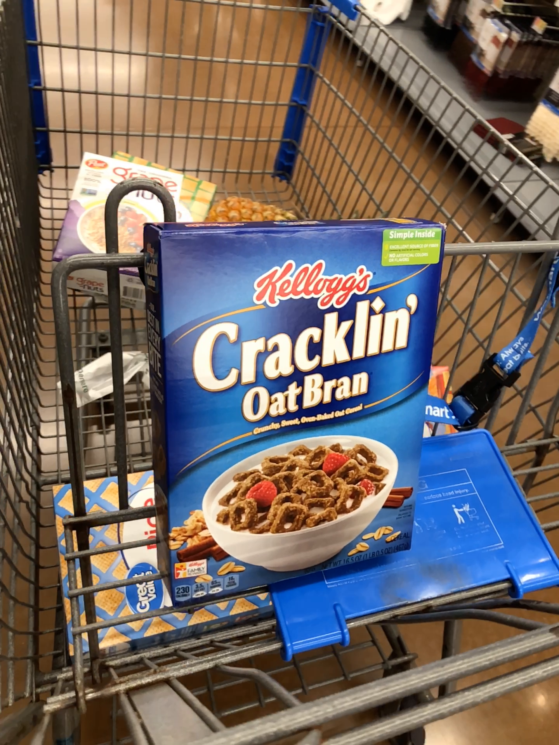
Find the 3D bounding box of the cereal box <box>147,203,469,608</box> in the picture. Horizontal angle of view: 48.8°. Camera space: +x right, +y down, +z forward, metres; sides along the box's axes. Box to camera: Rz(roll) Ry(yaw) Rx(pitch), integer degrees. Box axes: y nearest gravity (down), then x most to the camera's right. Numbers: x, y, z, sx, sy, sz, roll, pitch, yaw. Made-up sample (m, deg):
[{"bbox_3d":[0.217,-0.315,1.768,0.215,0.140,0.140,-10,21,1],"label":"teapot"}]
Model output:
[{"bbox_3d":[0.018,0.018,0.431,0.200,0.260,0.050,-5,19,-20],"label":"cereal box"}]
